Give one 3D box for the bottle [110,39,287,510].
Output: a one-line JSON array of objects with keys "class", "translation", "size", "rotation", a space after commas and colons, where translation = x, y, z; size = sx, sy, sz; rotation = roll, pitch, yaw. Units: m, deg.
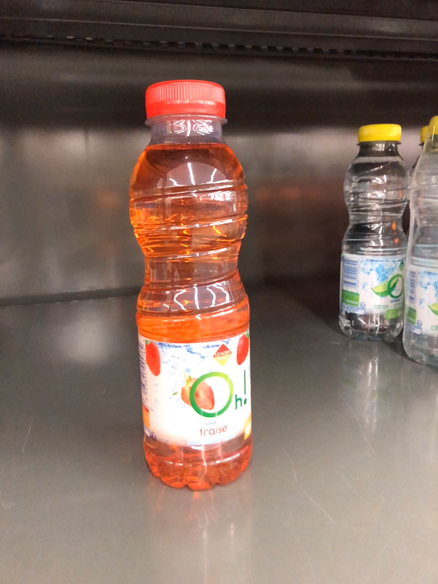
[{"class": "bottle", "translation": [-0.010, -0.007, 0.252], "size": [0.070, 0.209, 0.060], "rotation": [-5, 11, -17]}]
